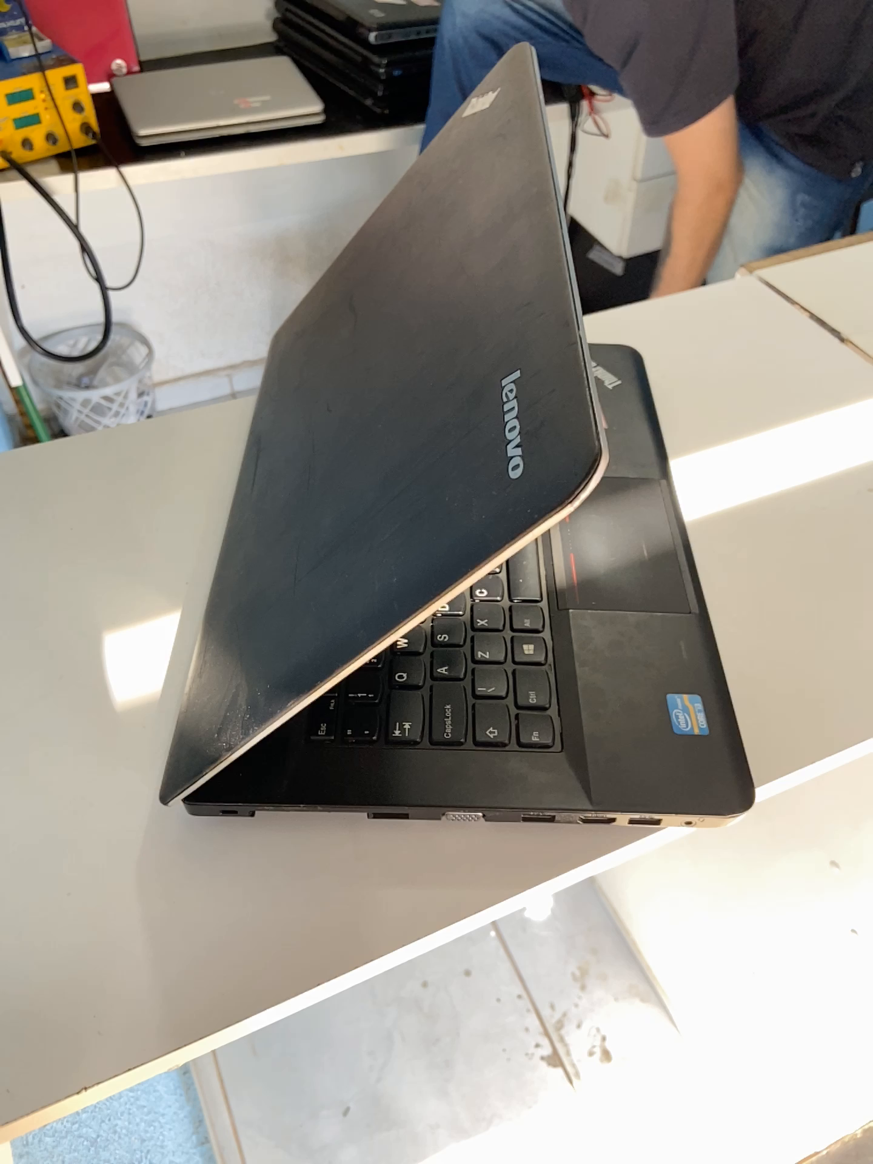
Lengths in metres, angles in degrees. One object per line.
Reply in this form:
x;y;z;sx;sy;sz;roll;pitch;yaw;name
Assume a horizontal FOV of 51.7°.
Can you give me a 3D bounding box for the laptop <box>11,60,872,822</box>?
0.005;-0.086;0.410;0.230;0.165;0.332;1;47;0;laptop
